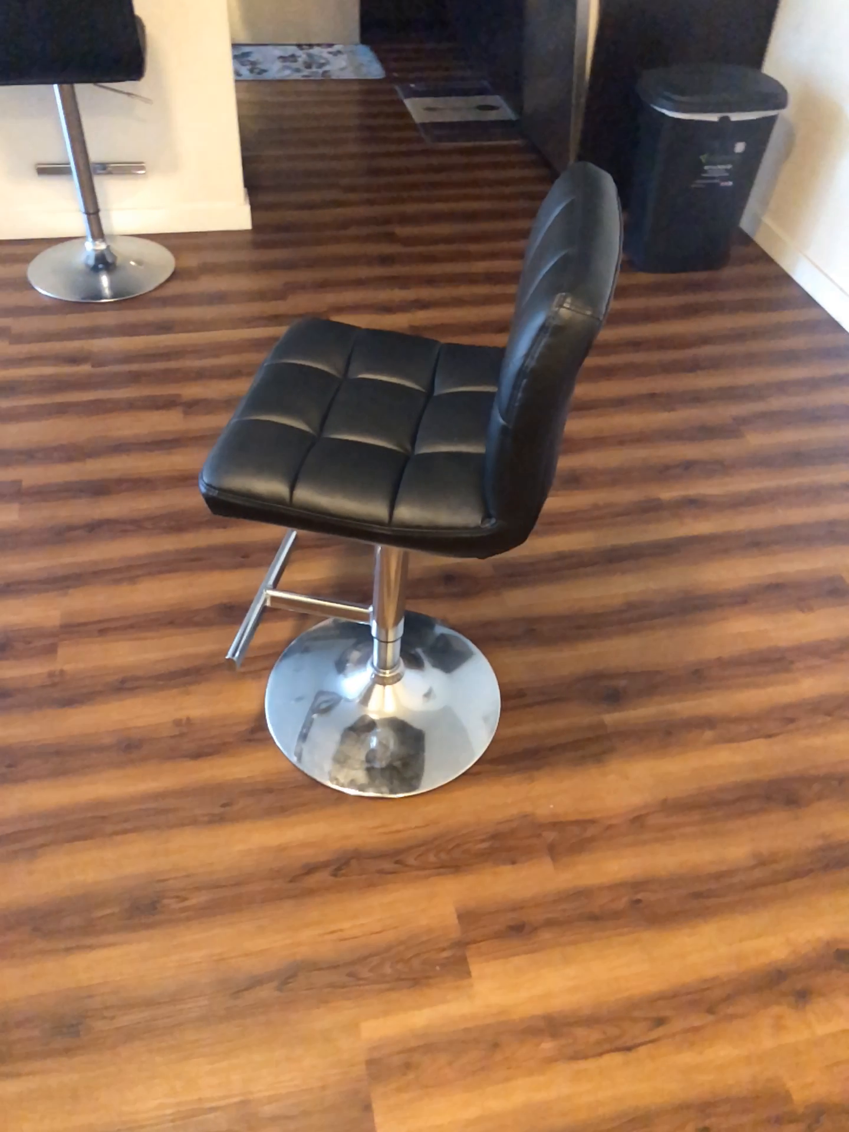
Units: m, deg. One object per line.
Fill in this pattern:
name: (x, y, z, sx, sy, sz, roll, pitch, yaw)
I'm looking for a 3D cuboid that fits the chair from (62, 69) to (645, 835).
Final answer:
chair: (-0.058, -0.133, 1.424, 0.568, 0.952, 0.537, 10, 44, 6)
